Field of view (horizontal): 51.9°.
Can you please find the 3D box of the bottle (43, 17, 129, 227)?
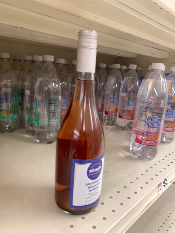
[{"bbox_3d":[-0.012,0.014,0.302,0.090,0.299,0.080,-8,19,-39],"label":"bottle"}]
